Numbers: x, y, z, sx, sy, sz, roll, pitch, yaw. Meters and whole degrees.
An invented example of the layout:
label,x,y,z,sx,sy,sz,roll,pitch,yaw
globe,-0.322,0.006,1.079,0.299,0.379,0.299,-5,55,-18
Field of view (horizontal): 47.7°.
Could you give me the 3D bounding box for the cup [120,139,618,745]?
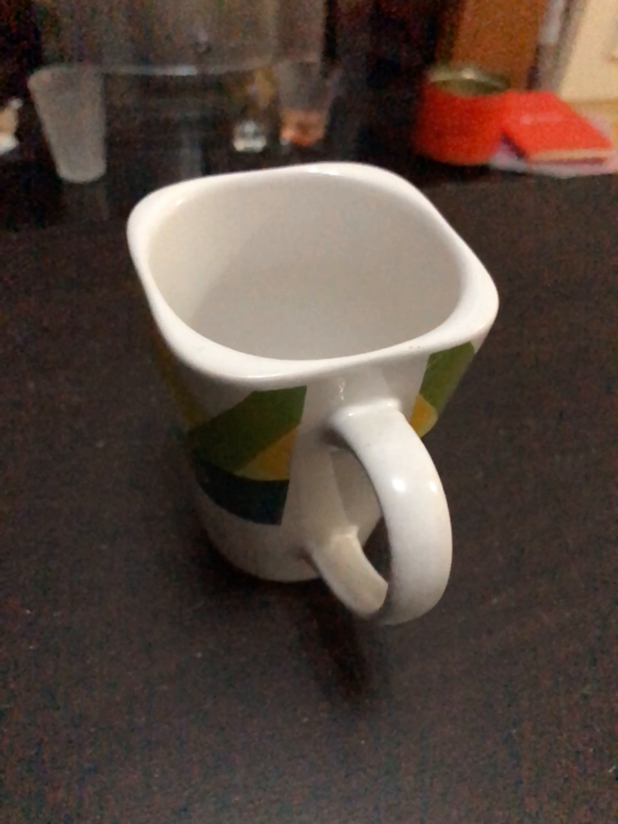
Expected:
label,x,y,z,sx,sy,sz,roll,pitch,yaw
cup,0.008,0.002,0.182,0.080,0.089,0.110,-14,50,-18
